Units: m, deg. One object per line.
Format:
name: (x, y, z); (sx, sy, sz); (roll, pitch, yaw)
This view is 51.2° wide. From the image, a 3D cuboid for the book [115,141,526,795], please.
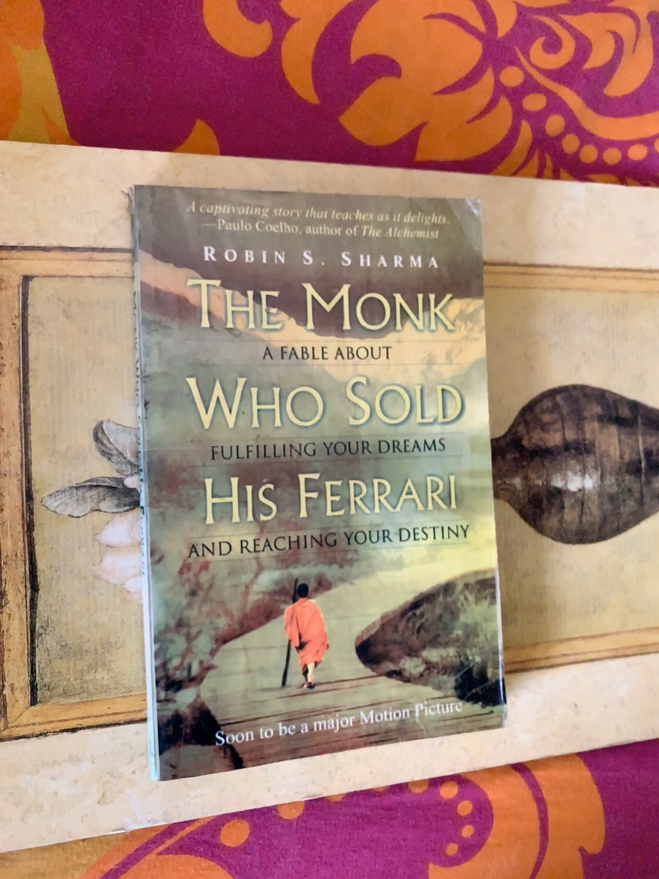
book: (-0.003, 0.005, 0.243); (0.130, 0.030, 0.200); (-3, 88, -16)
